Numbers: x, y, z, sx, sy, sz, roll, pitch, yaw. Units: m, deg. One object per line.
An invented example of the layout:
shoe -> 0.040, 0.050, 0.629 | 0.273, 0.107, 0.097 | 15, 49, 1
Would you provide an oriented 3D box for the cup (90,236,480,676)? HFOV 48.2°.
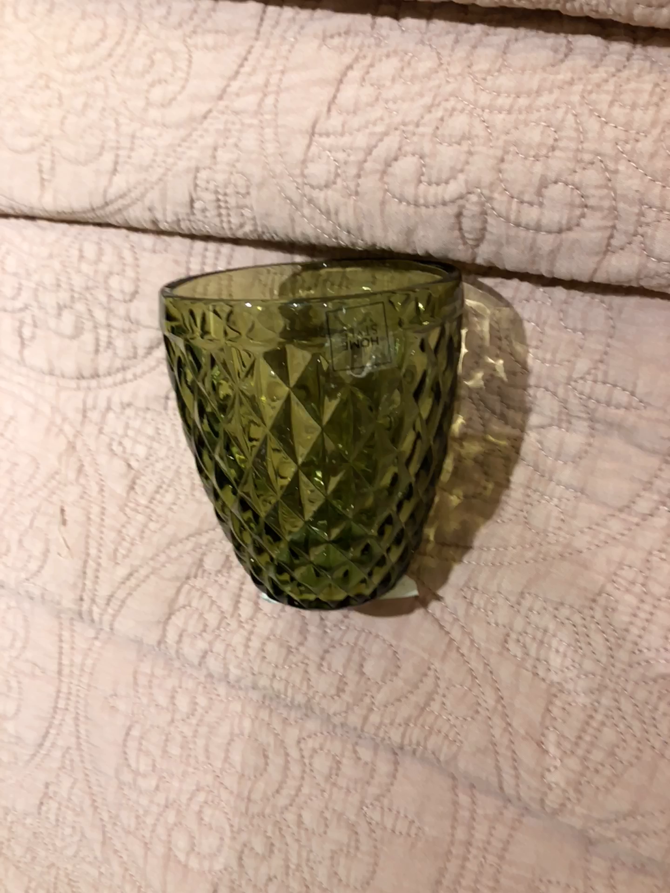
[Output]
cup -> -0.007, -0.005, 0.220 | 0.080, 0.070, 0.100 | 8, 116, 27
